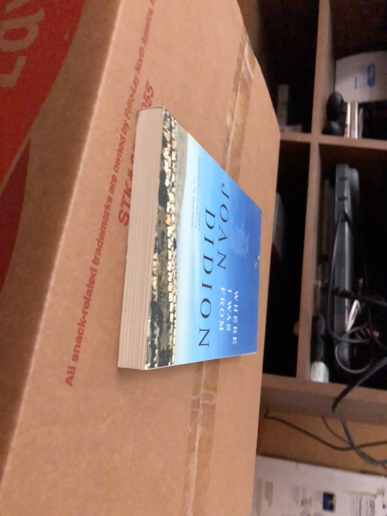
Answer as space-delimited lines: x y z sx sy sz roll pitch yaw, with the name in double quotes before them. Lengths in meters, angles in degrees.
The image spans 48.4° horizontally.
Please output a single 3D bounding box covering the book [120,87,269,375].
"book" 0.018 0.000 0.305 0.211 0.020 0.140 22 69 -66
